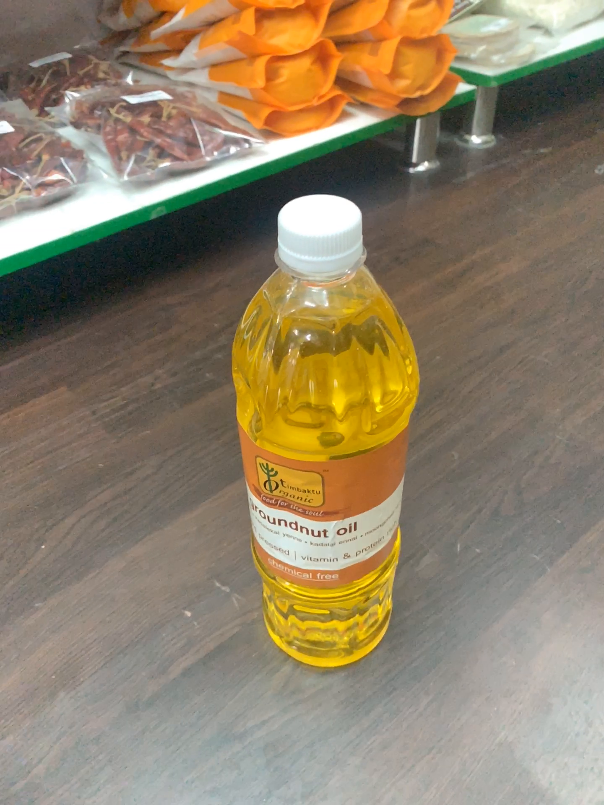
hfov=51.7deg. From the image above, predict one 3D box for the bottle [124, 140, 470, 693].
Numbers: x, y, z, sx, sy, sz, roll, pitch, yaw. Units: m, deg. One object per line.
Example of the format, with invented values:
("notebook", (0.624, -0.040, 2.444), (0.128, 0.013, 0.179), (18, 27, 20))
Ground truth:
("bottle", (0.005, 0.028, 0.291), (0.090, 0.259, 0.070), (19, 47, 22))
